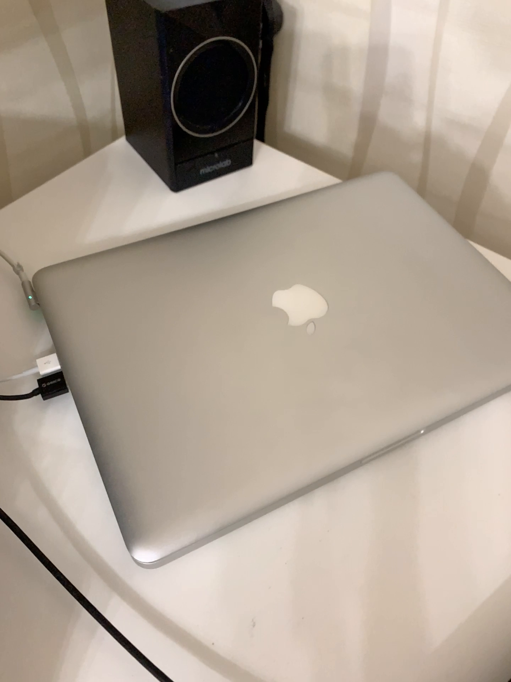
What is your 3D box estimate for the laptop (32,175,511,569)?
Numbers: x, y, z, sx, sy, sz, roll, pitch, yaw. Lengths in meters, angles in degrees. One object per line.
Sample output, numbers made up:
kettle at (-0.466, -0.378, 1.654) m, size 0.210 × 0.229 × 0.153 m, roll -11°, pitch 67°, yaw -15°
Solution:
laptop at (0.028, -0.018, 0.372) m, size 0.306 × 0.007 × 0.218 m, roll -21°, pitch 58°, yaw -21°
